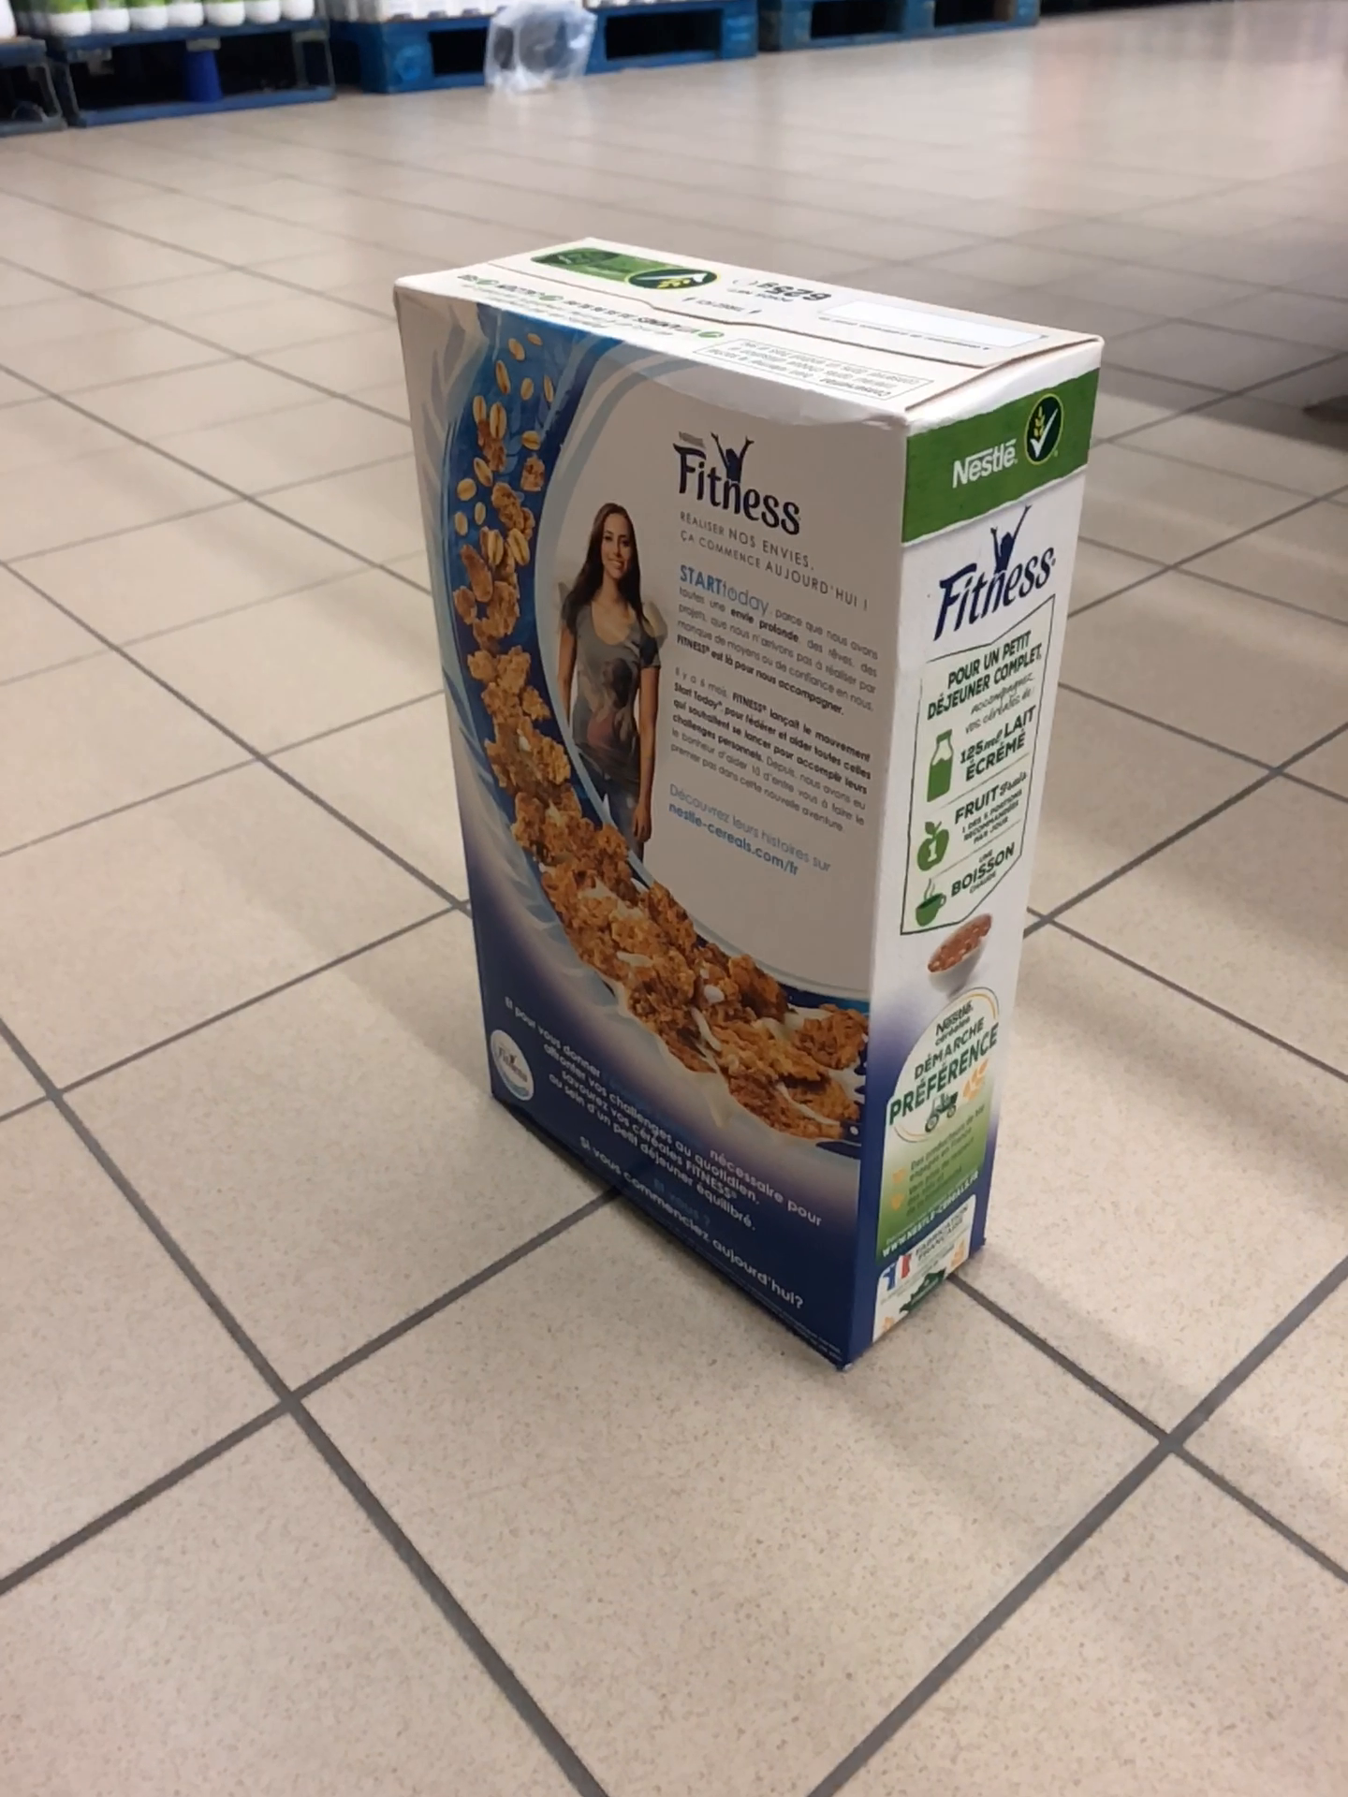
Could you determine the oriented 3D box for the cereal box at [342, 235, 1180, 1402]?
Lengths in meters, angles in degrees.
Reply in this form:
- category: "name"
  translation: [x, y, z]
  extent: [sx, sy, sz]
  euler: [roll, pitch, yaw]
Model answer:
- category: "cereal box"
  translation: [0.015, -0.028, 0.465]
  extent: [0.210, 0.298, 0.090]
  euler: [28, 43, 37]
